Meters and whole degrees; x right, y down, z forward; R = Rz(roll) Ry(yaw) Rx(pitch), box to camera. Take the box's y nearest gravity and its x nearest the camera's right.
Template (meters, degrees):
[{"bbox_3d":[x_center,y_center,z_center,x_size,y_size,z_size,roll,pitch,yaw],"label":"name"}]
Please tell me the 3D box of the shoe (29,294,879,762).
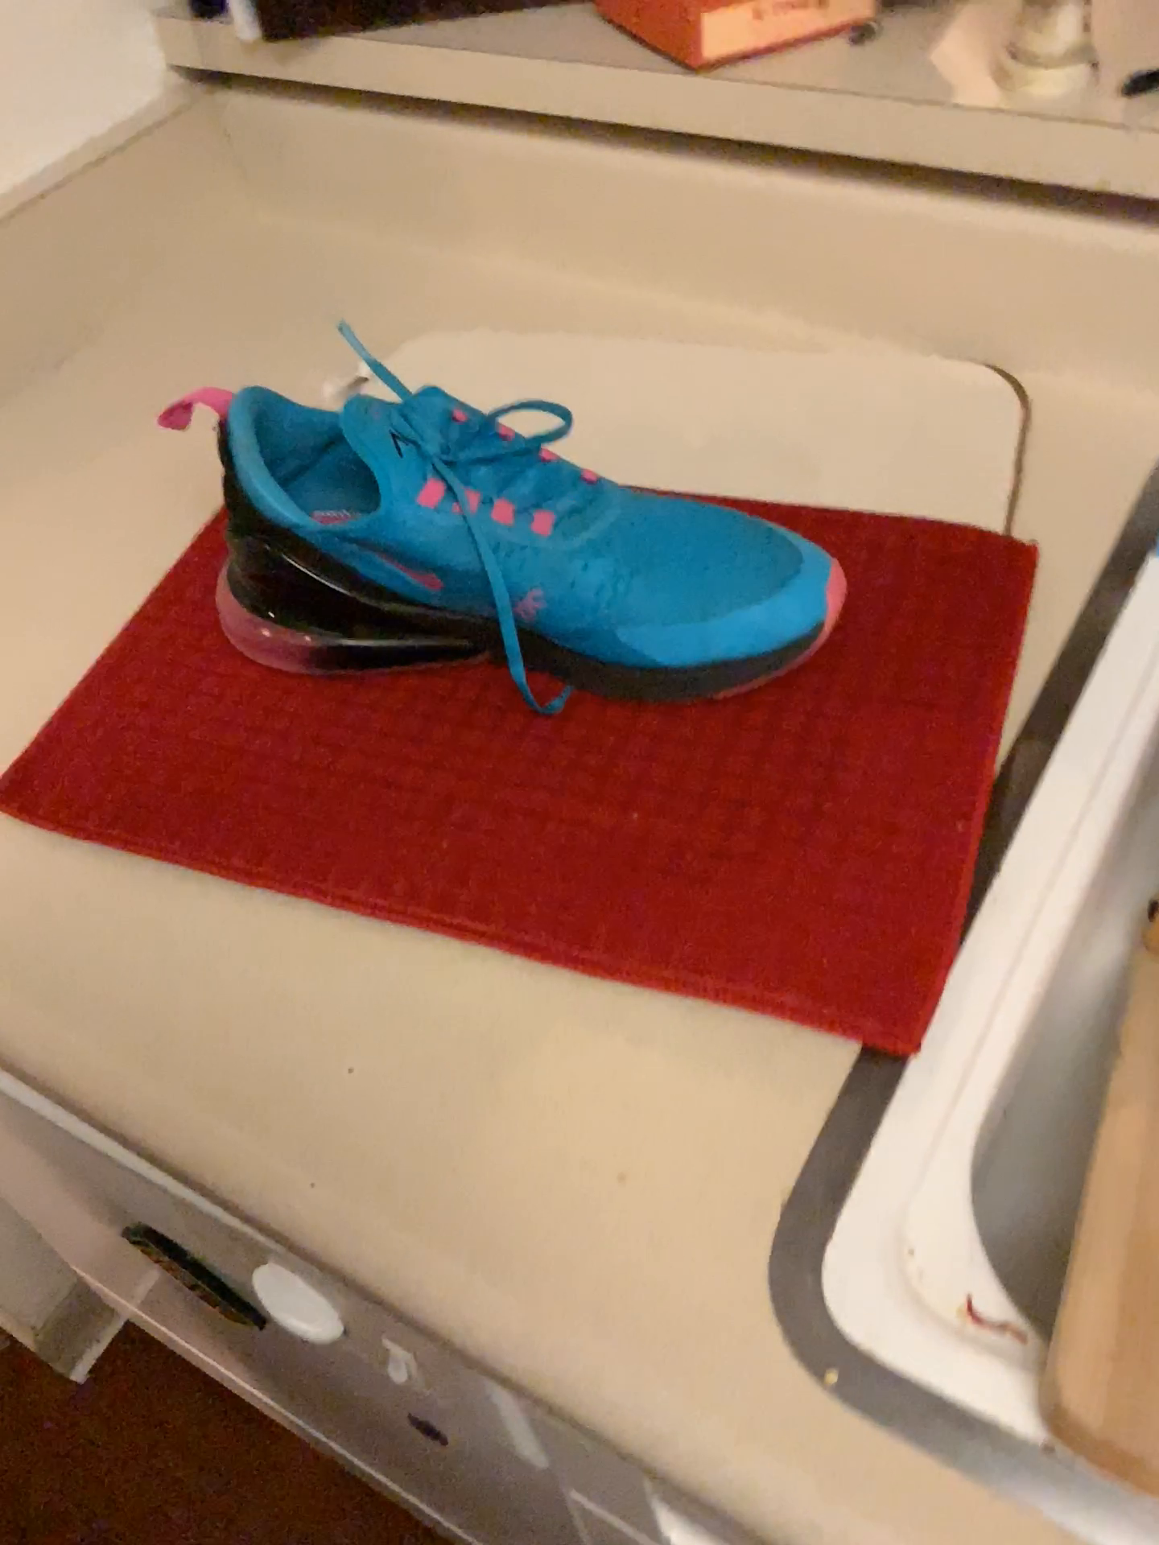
[{"bbox_3d":[-0.041,-0.117,0.584,0.330,0.130,0.150,5,50,13],"label":"shoe"}]
